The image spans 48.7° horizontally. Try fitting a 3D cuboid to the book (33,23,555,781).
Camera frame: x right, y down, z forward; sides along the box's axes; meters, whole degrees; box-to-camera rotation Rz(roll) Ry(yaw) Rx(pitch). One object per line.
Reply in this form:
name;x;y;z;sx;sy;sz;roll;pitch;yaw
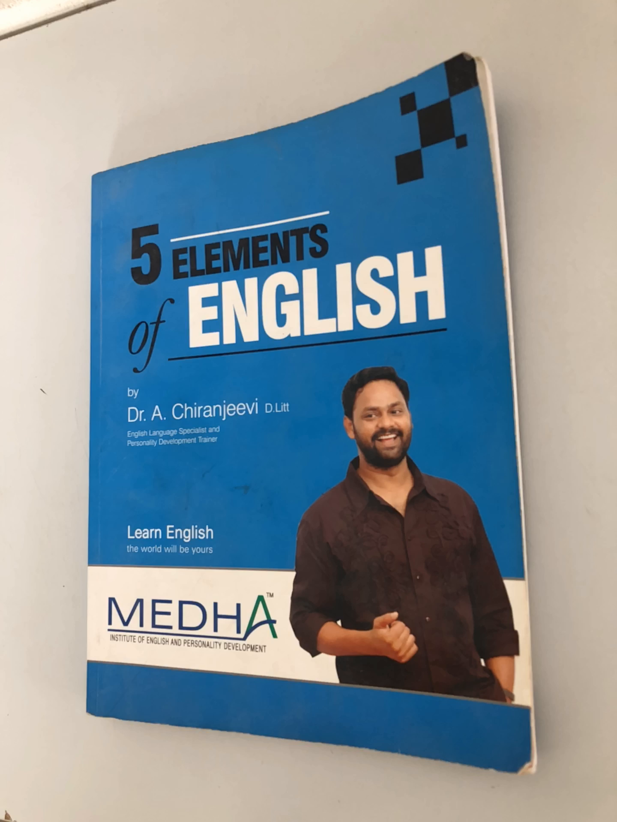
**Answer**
book;-0.018;-0.002;0.239;0.180;0.020;0.220;-5;83;22
